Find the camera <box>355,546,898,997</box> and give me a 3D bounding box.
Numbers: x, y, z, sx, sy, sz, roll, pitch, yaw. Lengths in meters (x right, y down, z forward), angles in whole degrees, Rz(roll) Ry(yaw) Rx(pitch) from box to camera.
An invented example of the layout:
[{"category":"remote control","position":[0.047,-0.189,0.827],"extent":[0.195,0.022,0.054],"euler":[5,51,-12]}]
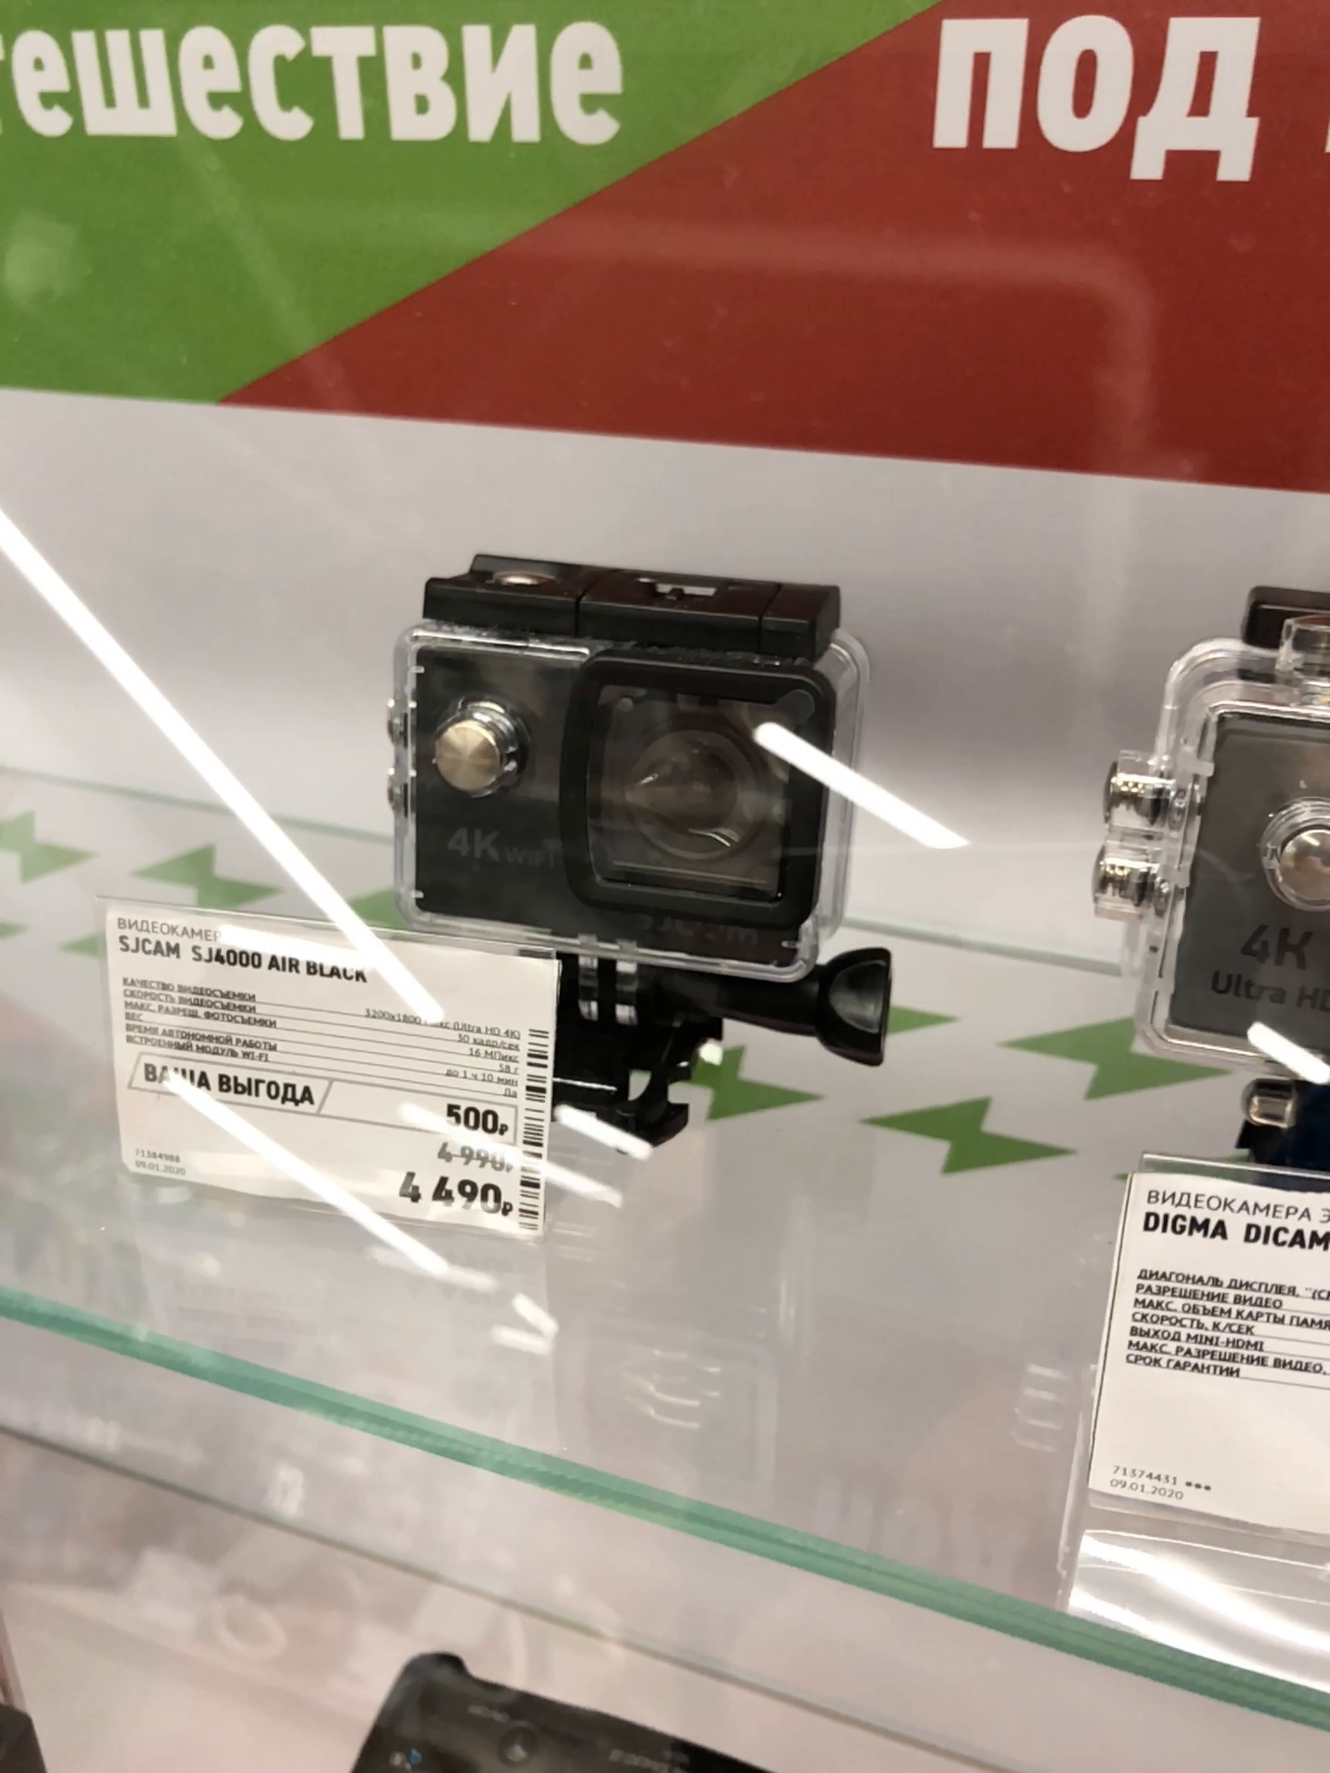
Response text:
[{"category":"camera","position":[-0.005,-0.020,0.227],"extent":[0.074,0.056,0.033],"euler":[6,18,12]}]
